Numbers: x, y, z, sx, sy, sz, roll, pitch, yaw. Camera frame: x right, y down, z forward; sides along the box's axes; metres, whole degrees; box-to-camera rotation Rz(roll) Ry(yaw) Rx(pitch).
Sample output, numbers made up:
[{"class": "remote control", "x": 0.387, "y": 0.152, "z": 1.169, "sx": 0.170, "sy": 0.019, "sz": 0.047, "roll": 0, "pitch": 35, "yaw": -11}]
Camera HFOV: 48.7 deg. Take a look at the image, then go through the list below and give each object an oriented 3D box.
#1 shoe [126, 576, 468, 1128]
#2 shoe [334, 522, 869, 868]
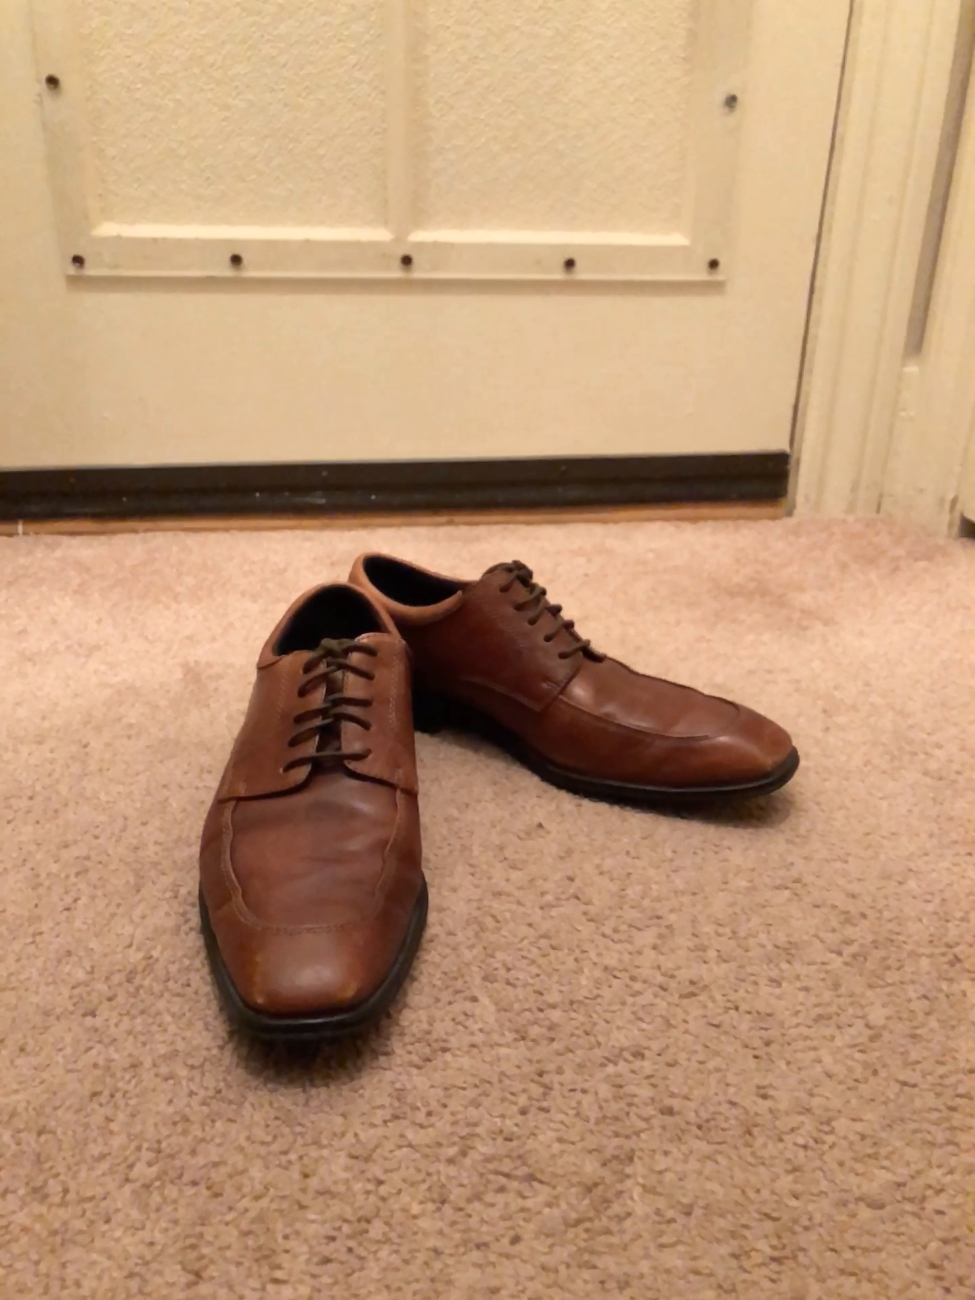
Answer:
[{"class": "shoe", "x": -0.081, "y": 0.071, "z": 0.543, "sx": 0.120, "sy": 0.119, "sz": 0.301, "roll": -1, "pitch": 24, "yaw": -5}, {"class": "shoe", "x": 0.058, "y": 0.013, "z": 0.656, "sx": 0.300, "sy": 0.109, "sz": 0.100, "roll": 15, "pitch": 27, "yaw": 28}]
